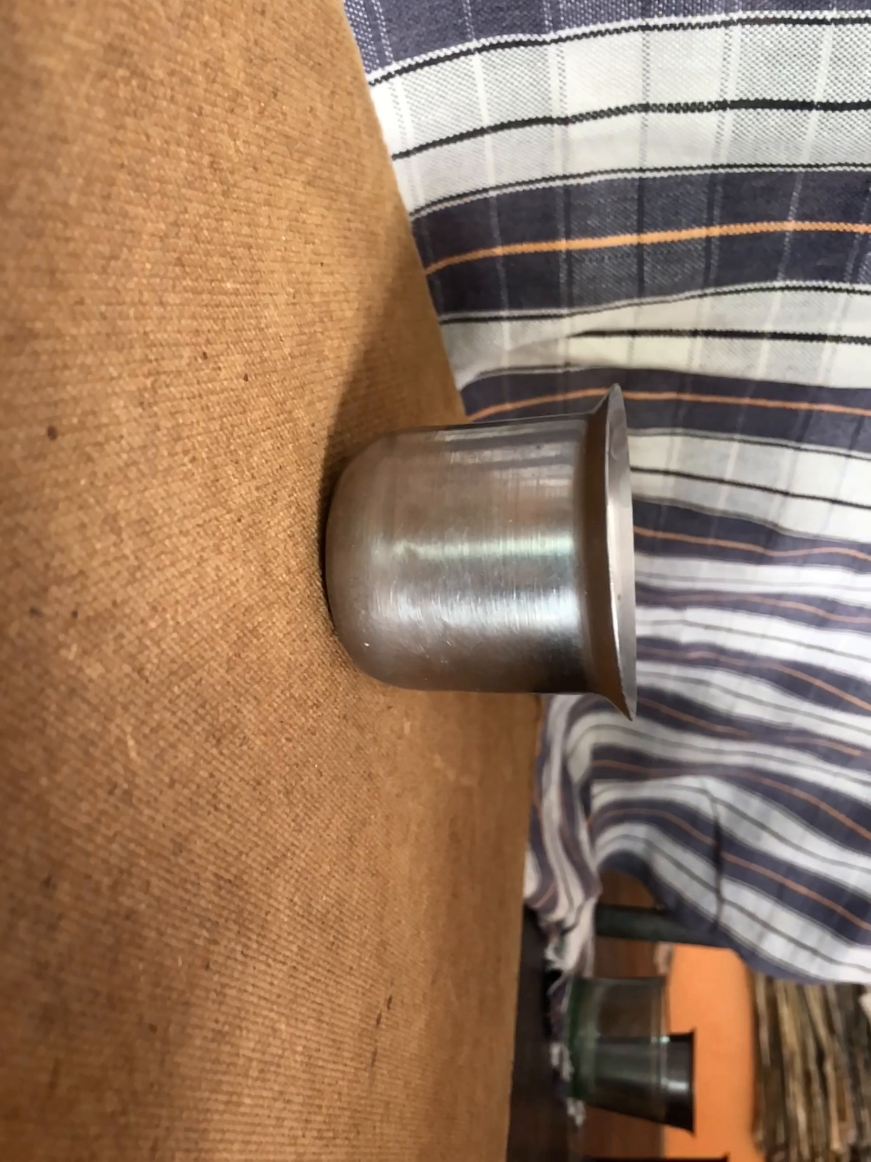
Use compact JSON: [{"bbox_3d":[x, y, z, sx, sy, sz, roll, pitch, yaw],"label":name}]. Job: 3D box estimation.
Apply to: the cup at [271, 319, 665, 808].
[{"bbox_3d":[0.015,-0.006,0.199,0.070,0.060,0.070,-2,90,-76],"label":"cup"}]
